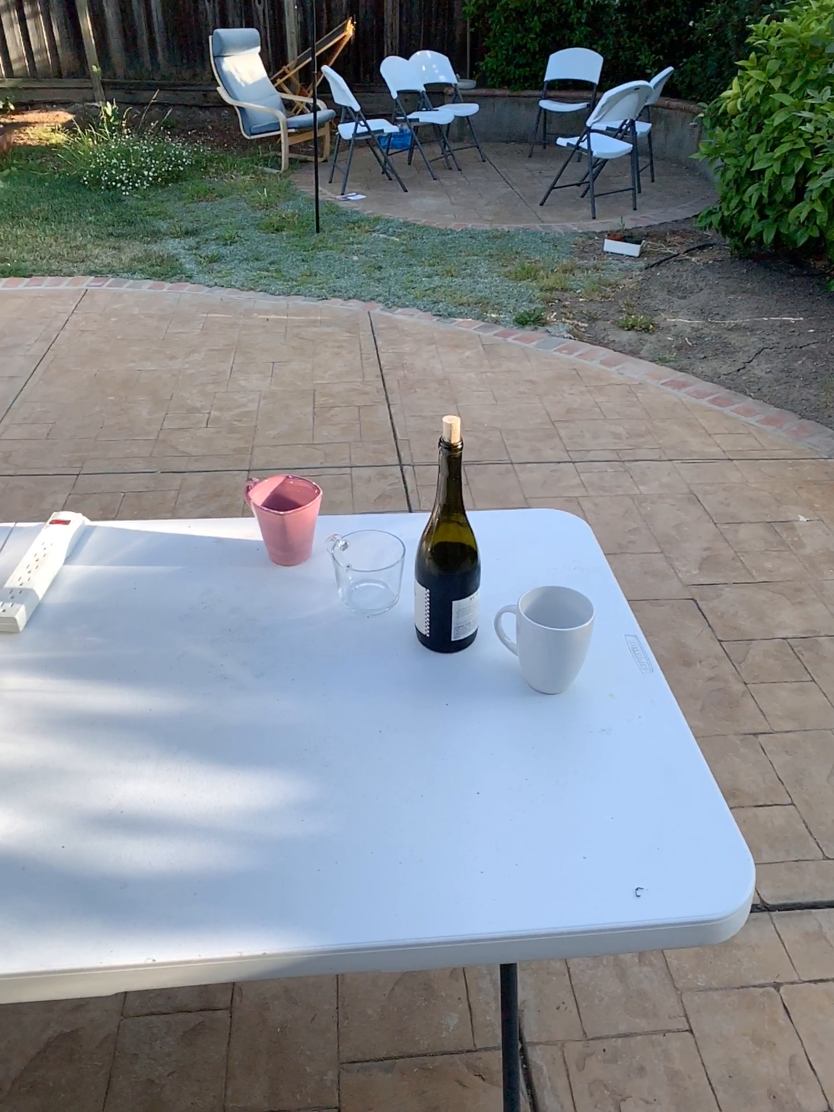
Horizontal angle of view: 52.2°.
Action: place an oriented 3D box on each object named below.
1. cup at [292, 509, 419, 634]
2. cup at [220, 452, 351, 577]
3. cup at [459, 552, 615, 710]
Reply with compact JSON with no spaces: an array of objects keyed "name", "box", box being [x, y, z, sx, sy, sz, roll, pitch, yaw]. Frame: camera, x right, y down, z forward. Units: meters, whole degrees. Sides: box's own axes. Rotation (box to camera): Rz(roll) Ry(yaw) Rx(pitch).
[{"name":"cup","box":[-0.086,0.018,1.204,0.141,0.089,0.110,30,44,35]},{"name":"cup","box":[-0.178,-0.060,1.158,0.110,0.089,0.141,-27,43,-34]},{"name":"cup","box":[0.140,0.084,1.009,0.140,0.099,0.110,22,40,28]}]
